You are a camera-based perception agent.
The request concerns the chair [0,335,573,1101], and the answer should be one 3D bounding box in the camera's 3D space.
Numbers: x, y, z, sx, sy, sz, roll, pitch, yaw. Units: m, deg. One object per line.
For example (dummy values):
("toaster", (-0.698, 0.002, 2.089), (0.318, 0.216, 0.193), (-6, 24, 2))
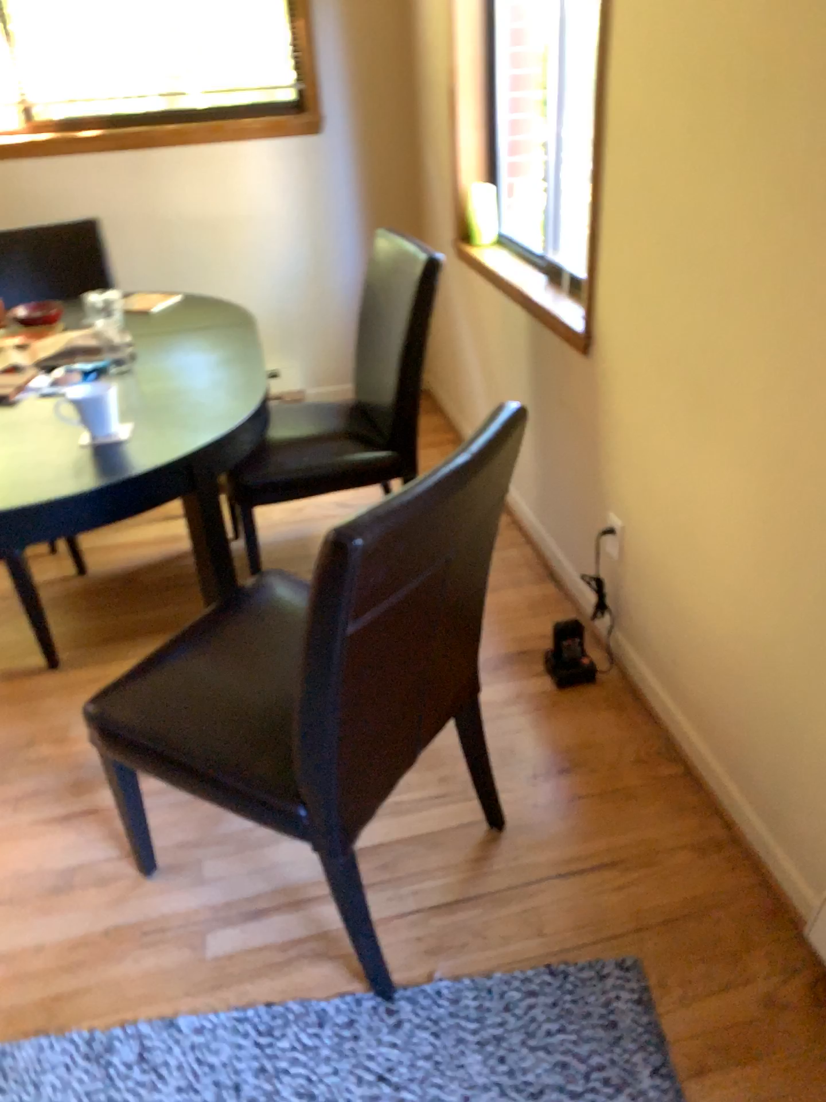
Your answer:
("chair", (-0.156, 0.271, 1.489), (0.652, 1.084, 0.622), (14, 36, 28))
